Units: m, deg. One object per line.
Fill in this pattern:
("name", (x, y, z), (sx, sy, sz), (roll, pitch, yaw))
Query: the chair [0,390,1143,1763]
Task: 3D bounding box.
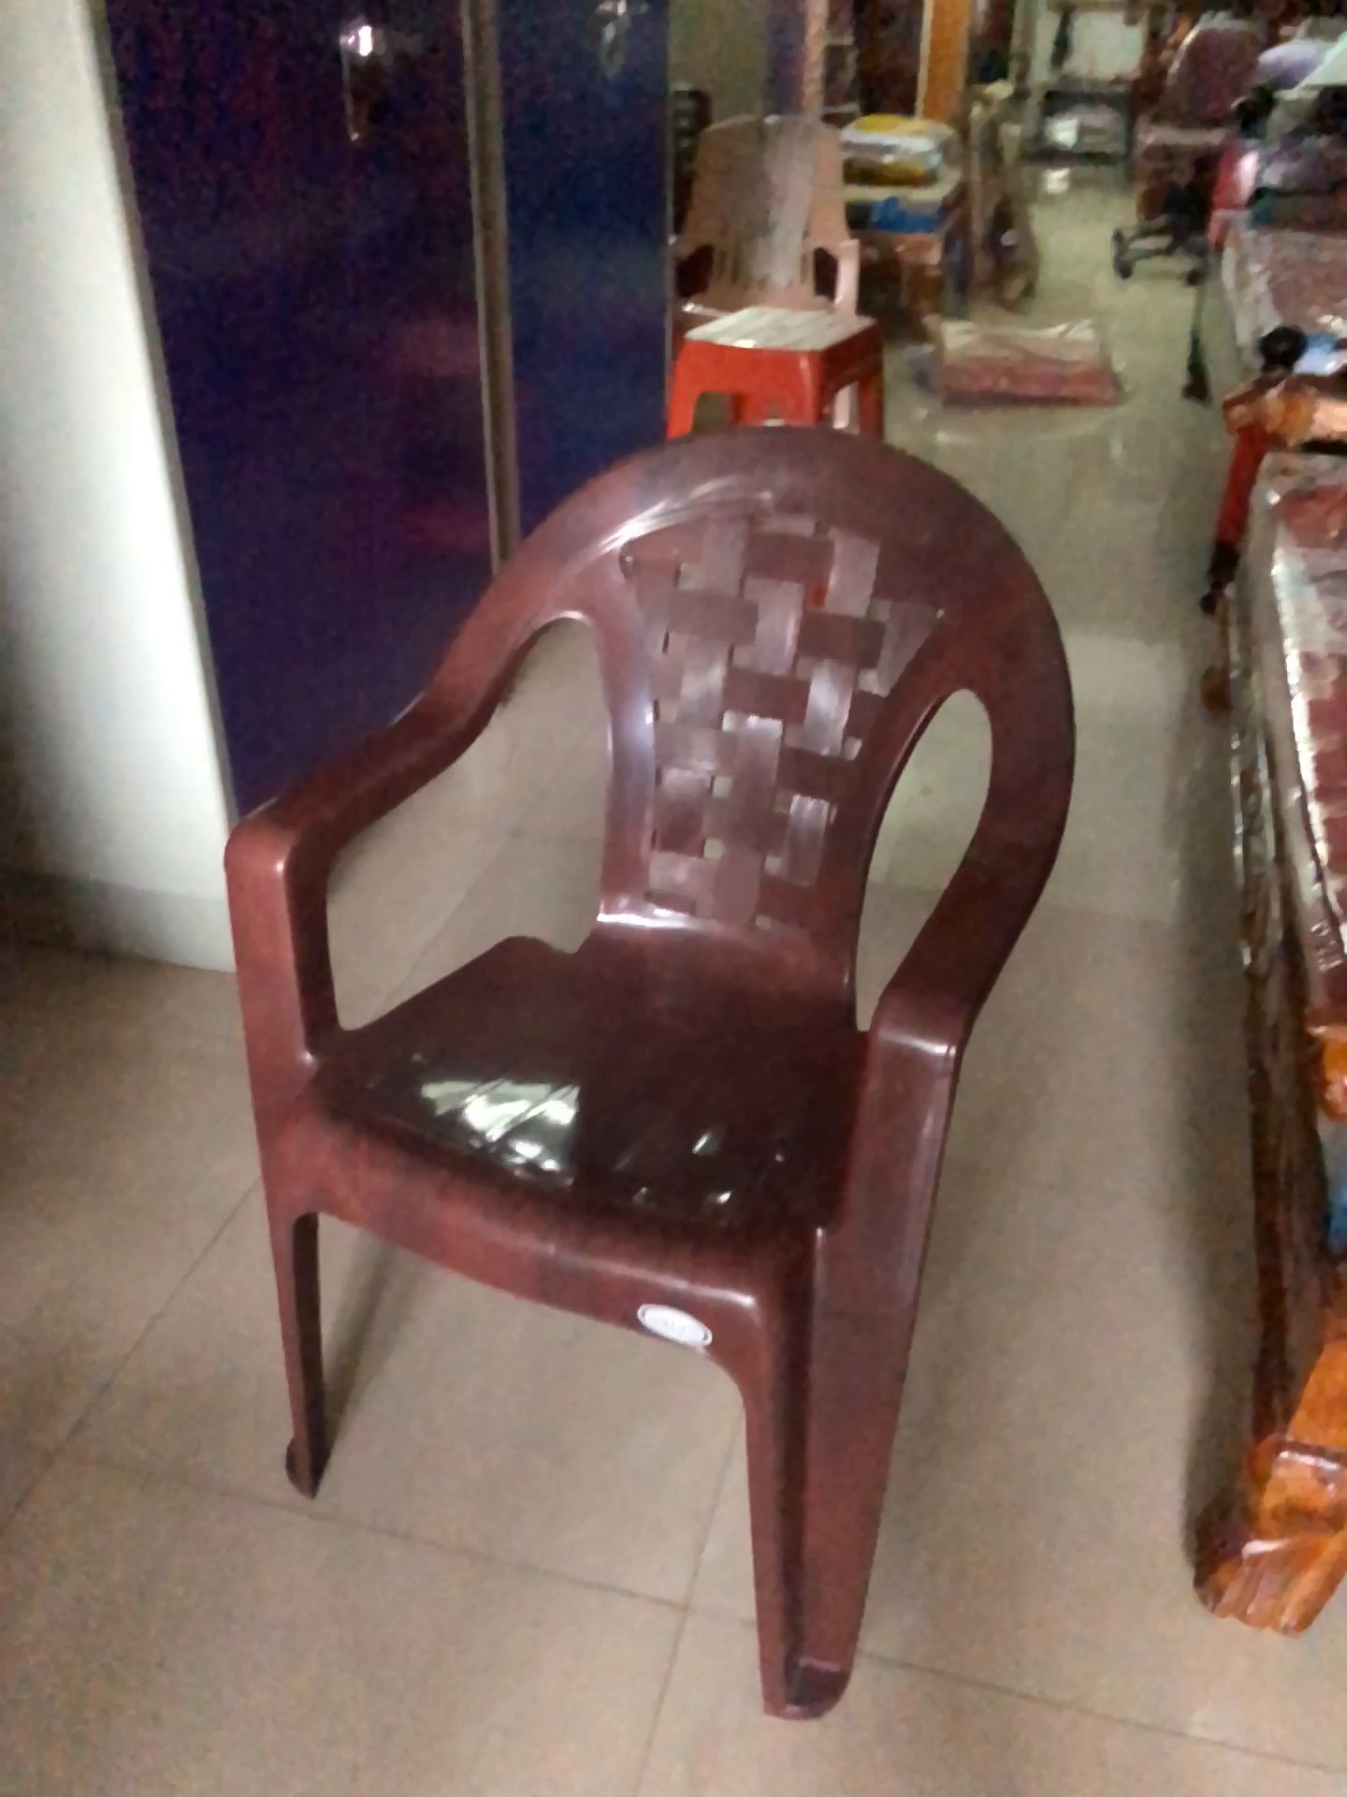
("chair", (-0.024, 0.095, 1.252), (0.600, 0.836, 0.613), (13, 34, 20))
